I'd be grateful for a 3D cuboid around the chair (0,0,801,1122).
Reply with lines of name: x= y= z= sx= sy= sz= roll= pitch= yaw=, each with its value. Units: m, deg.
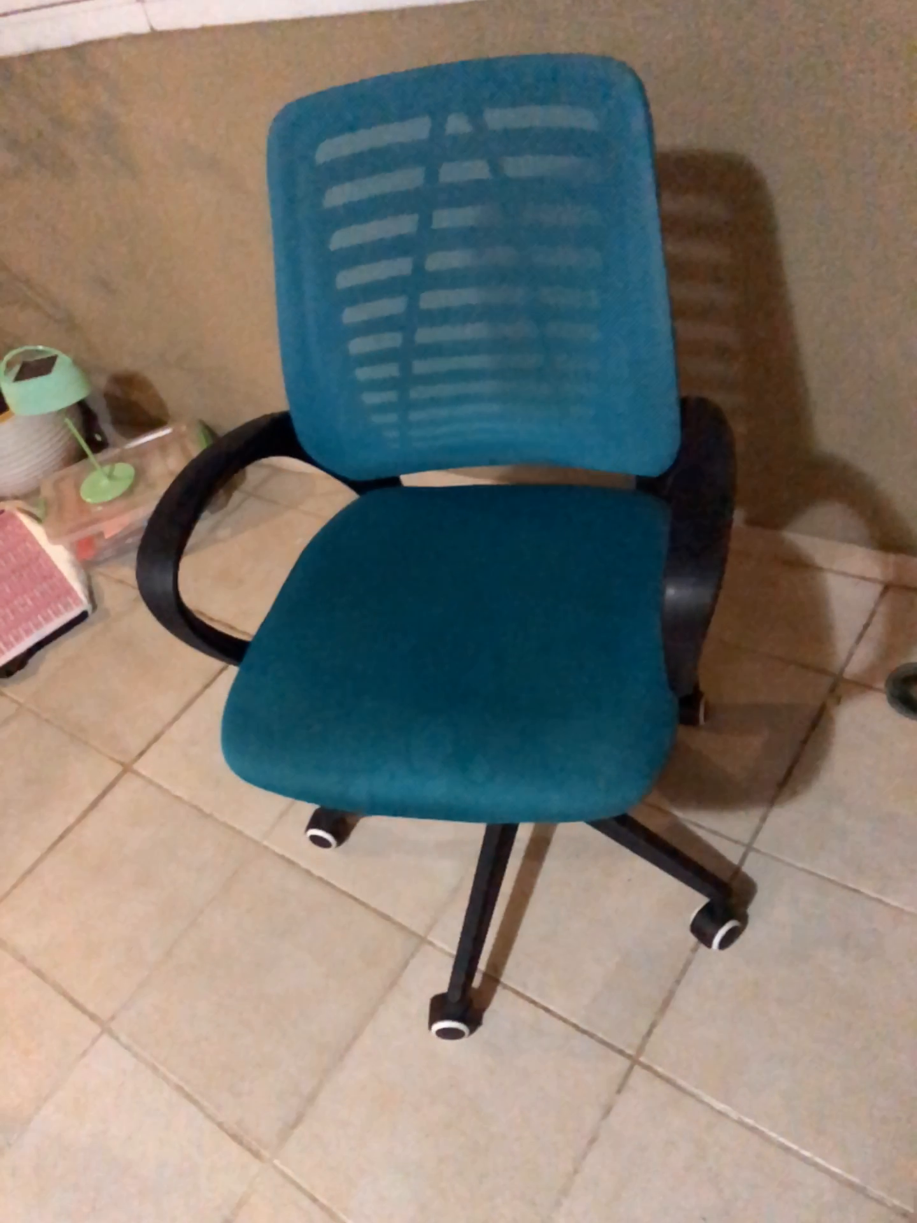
chair: x=-0.002 y=-0.029 z=1.181 sx=0.711 sy=0.923 sz=0.744 roll=2 pitch=47 yaw=22
